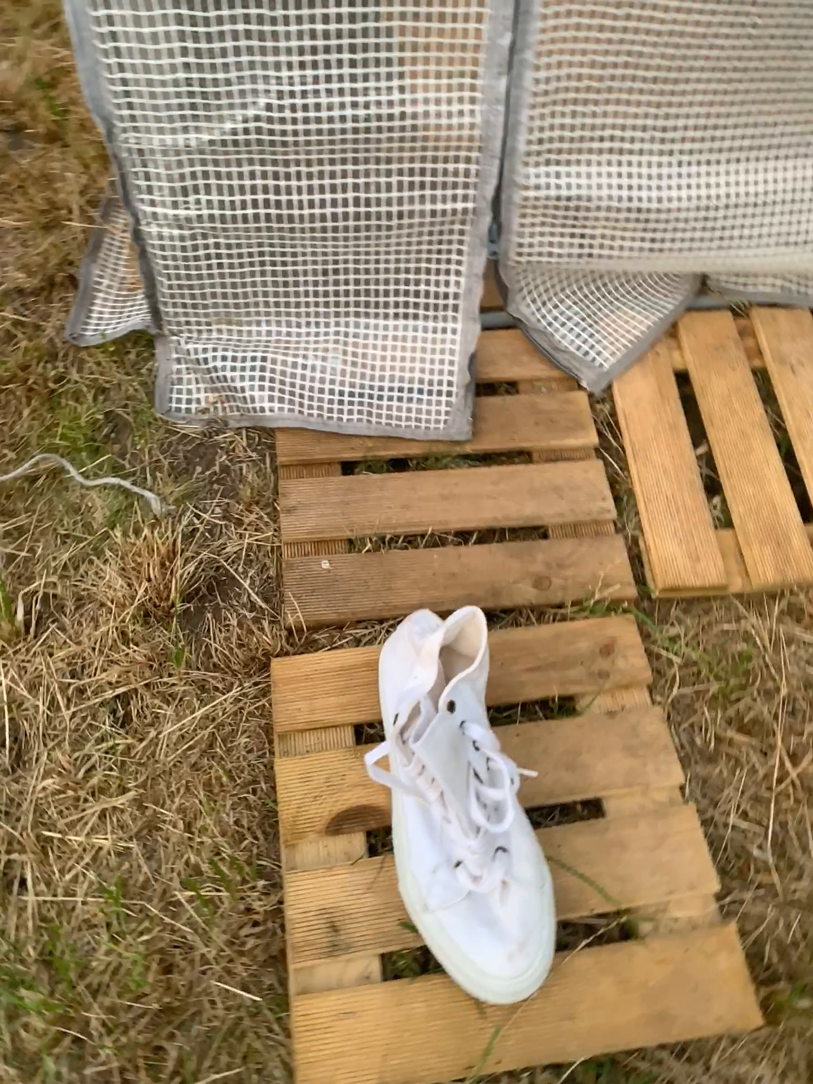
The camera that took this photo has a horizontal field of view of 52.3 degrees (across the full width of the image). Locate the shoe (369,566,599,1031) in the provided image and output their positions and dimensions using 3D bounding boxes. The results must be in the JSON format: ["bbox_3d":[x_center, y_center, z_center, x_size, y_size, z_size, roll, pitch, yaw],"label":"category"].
[{"bbox_3d":[0.036,0.163,0.554,0.100,0.129,0.262,-4,54,-4],"label":"shoe"}]
